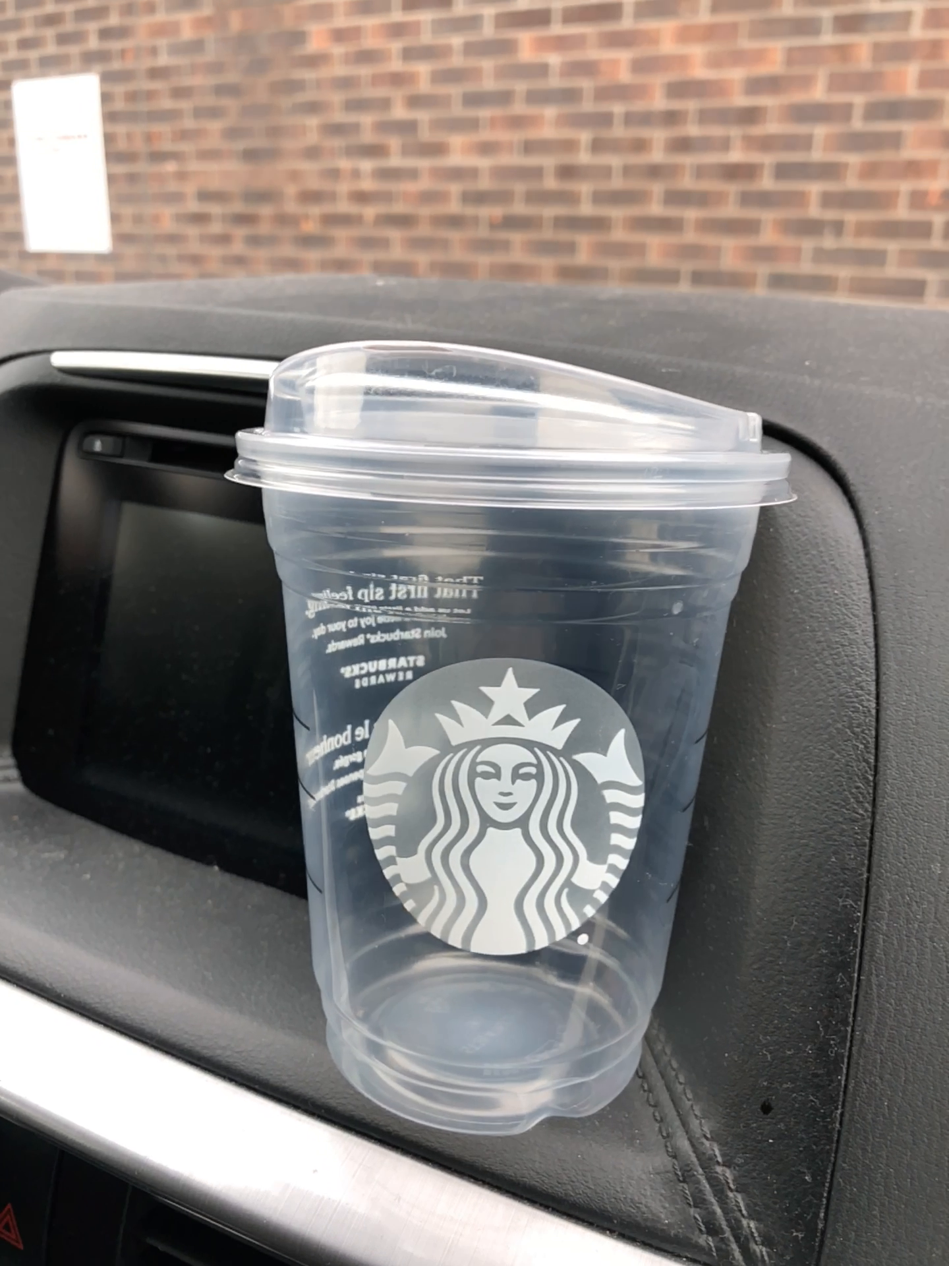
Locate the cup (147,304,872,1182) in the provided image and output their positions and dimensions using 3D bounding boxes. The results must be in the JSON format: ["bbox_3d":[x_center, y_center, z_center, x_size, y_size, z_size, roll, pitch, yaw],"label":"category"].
[{"bbox_3d":[0.004,0.010,0.188,0.088,0.125,0.082,2,18,-1],"label":"cup"}]
